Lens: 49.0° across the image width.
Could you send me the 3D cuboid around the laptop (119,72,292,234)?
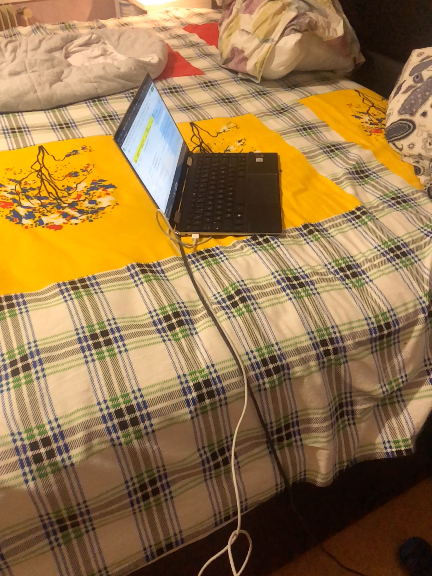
[{"bbox_3d":[-0.008,-0.250,0.841,0.253,0.158,0.276,3,44,4],"label":"laptop"}]
